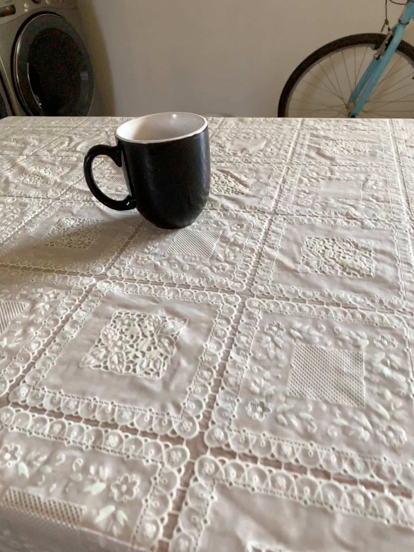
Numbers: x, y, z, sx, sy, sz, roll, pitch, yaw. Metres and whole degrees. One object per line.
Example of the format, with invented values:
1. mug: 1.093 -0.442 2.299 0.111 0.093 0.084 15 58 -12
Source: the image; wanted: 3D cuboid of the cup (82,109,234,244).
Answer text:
1. cup: -0.048 -0.112 0.473 0.140 0.099 0.101 -6 37 1
